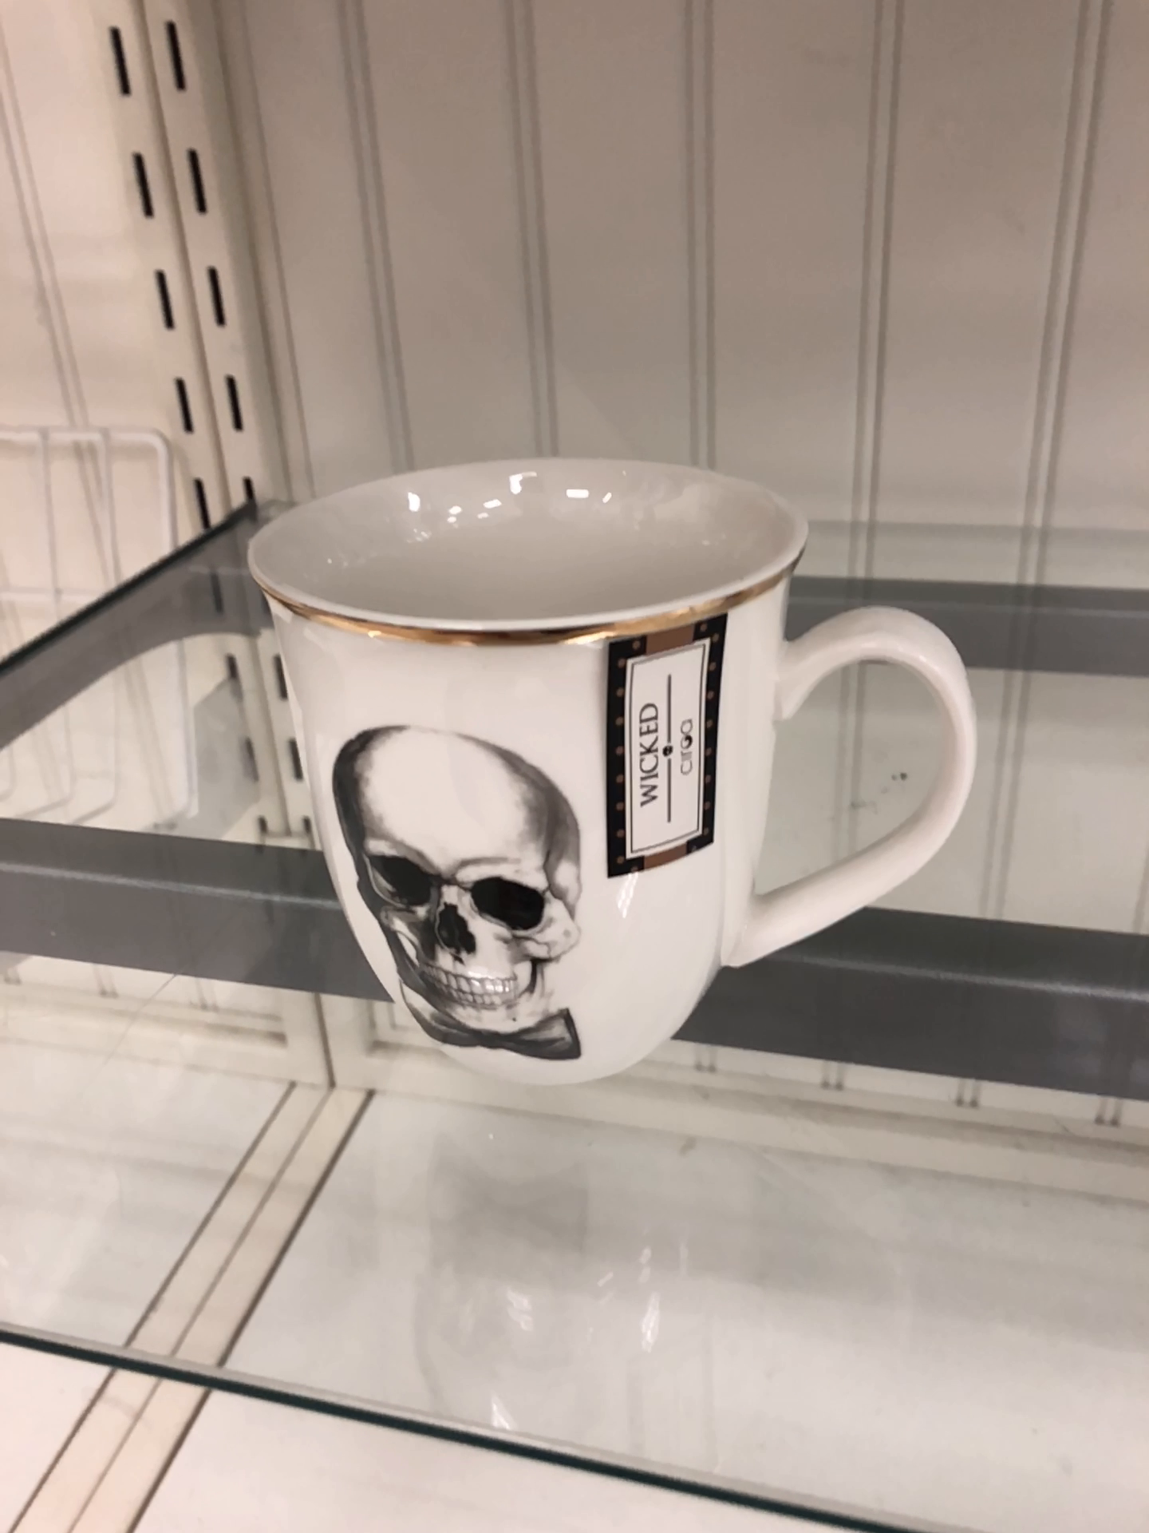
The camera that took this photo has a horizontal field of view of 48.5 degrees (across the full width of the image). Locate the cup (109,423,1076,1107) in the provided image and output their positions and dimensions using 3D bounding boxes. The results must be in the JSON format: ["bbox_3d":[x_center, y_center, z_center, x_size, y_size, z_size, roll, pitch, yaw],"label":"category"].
[{"bbox_3d":[0.006,-0.005,0.234,0.130,0.088,0.095,-1,27,5],"label":"cup"}]
